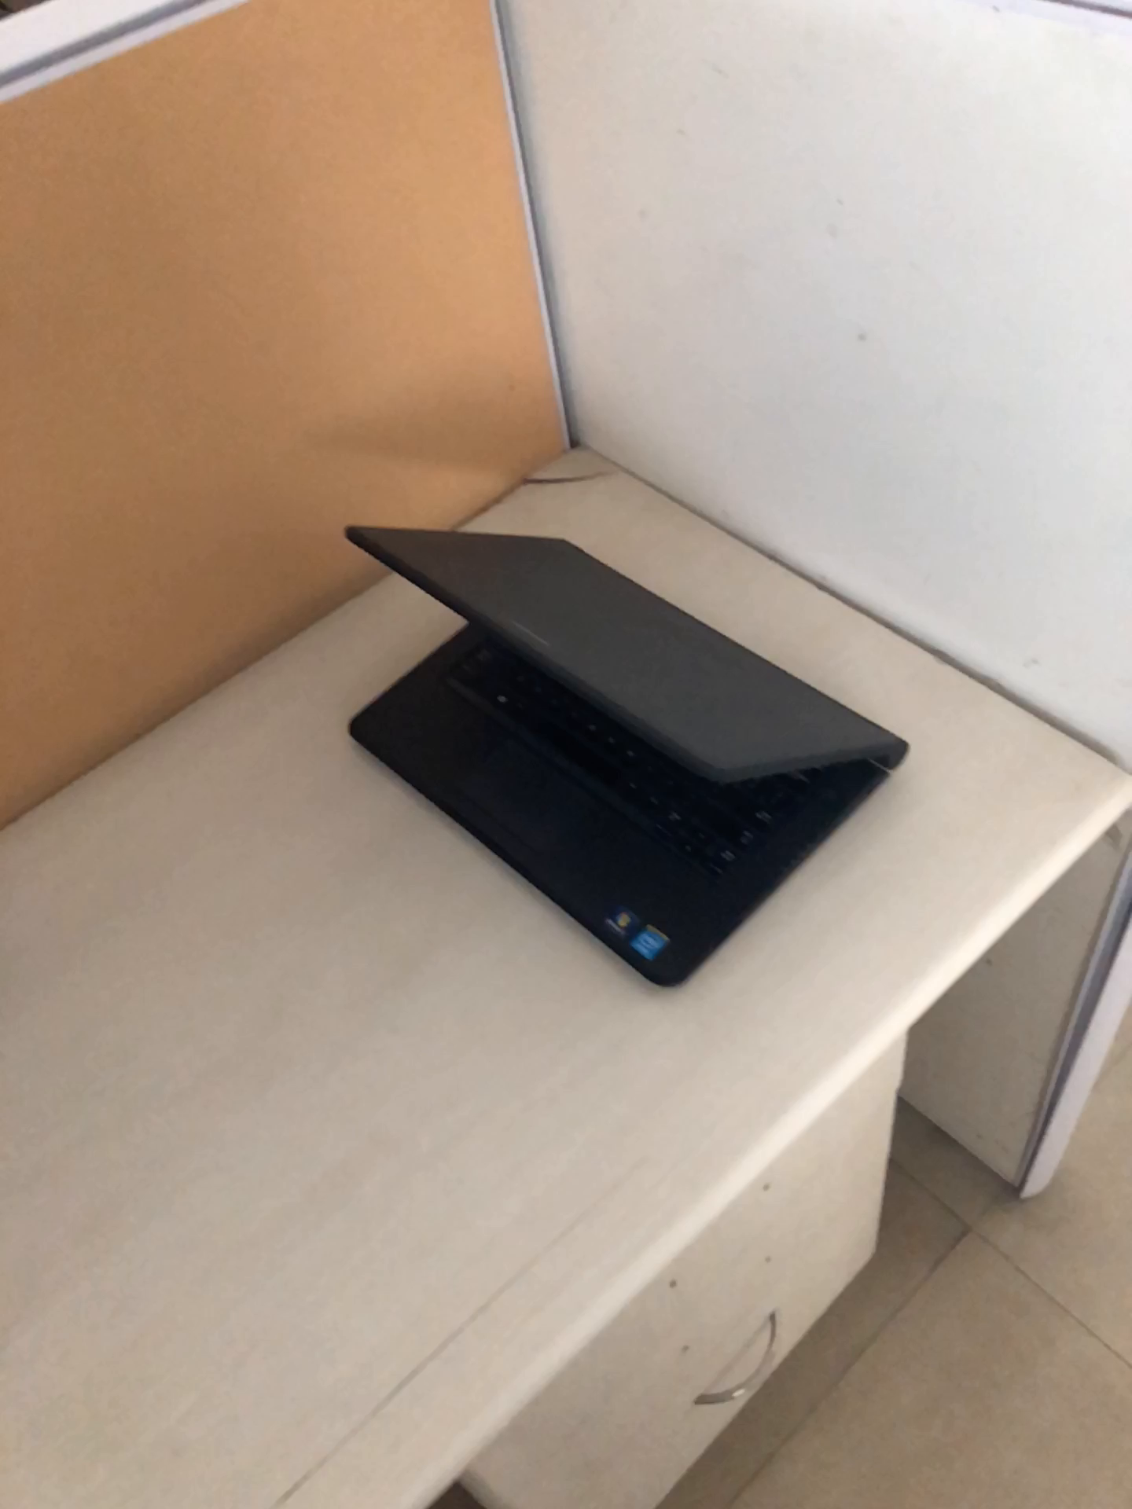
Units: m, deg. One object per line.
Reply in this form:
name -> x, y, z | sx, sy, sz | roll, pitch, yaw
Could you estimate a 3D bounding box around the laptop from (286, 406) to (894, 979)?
laptop -> 0.015, -0.057, 0.821 | 0.216, 0.154, 0.318 | -40, 55, -22
